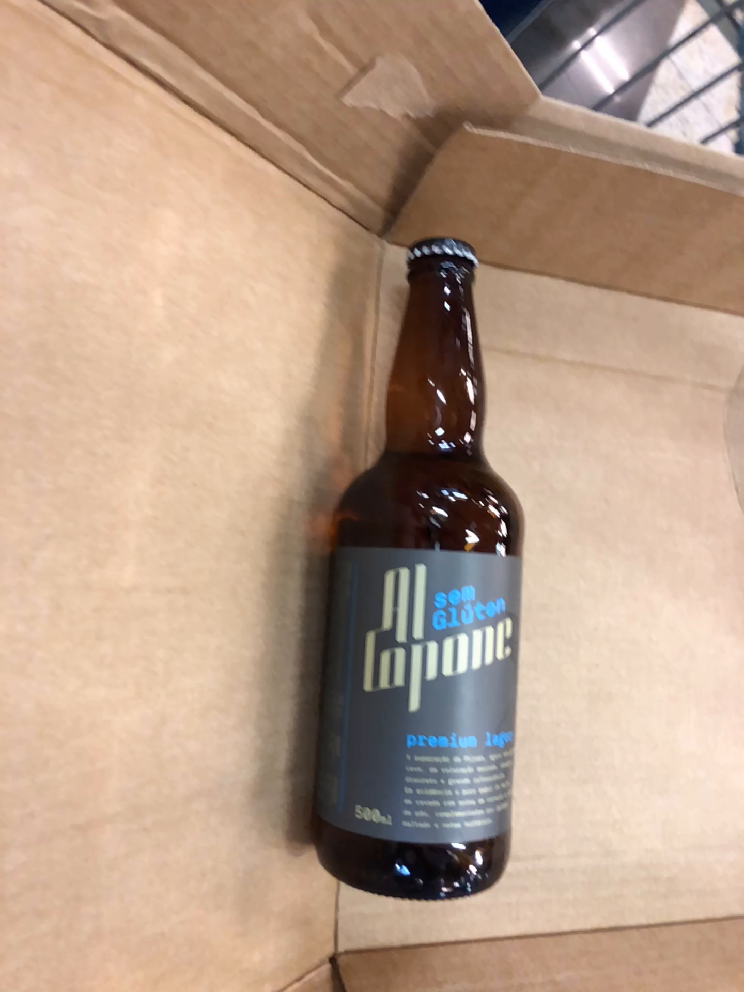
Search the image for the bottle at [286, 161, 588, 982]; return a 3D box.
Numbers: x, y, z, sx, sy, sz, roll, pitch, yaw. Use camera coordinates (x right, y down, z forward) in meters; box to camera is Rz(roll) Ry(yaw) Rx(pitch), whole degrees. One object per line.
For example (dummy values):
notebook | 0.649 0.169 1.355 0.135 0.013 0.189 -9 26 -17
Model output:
bottle | 0.025 0.021 0.289 0.080 0.060 0.240 7 81 -33
